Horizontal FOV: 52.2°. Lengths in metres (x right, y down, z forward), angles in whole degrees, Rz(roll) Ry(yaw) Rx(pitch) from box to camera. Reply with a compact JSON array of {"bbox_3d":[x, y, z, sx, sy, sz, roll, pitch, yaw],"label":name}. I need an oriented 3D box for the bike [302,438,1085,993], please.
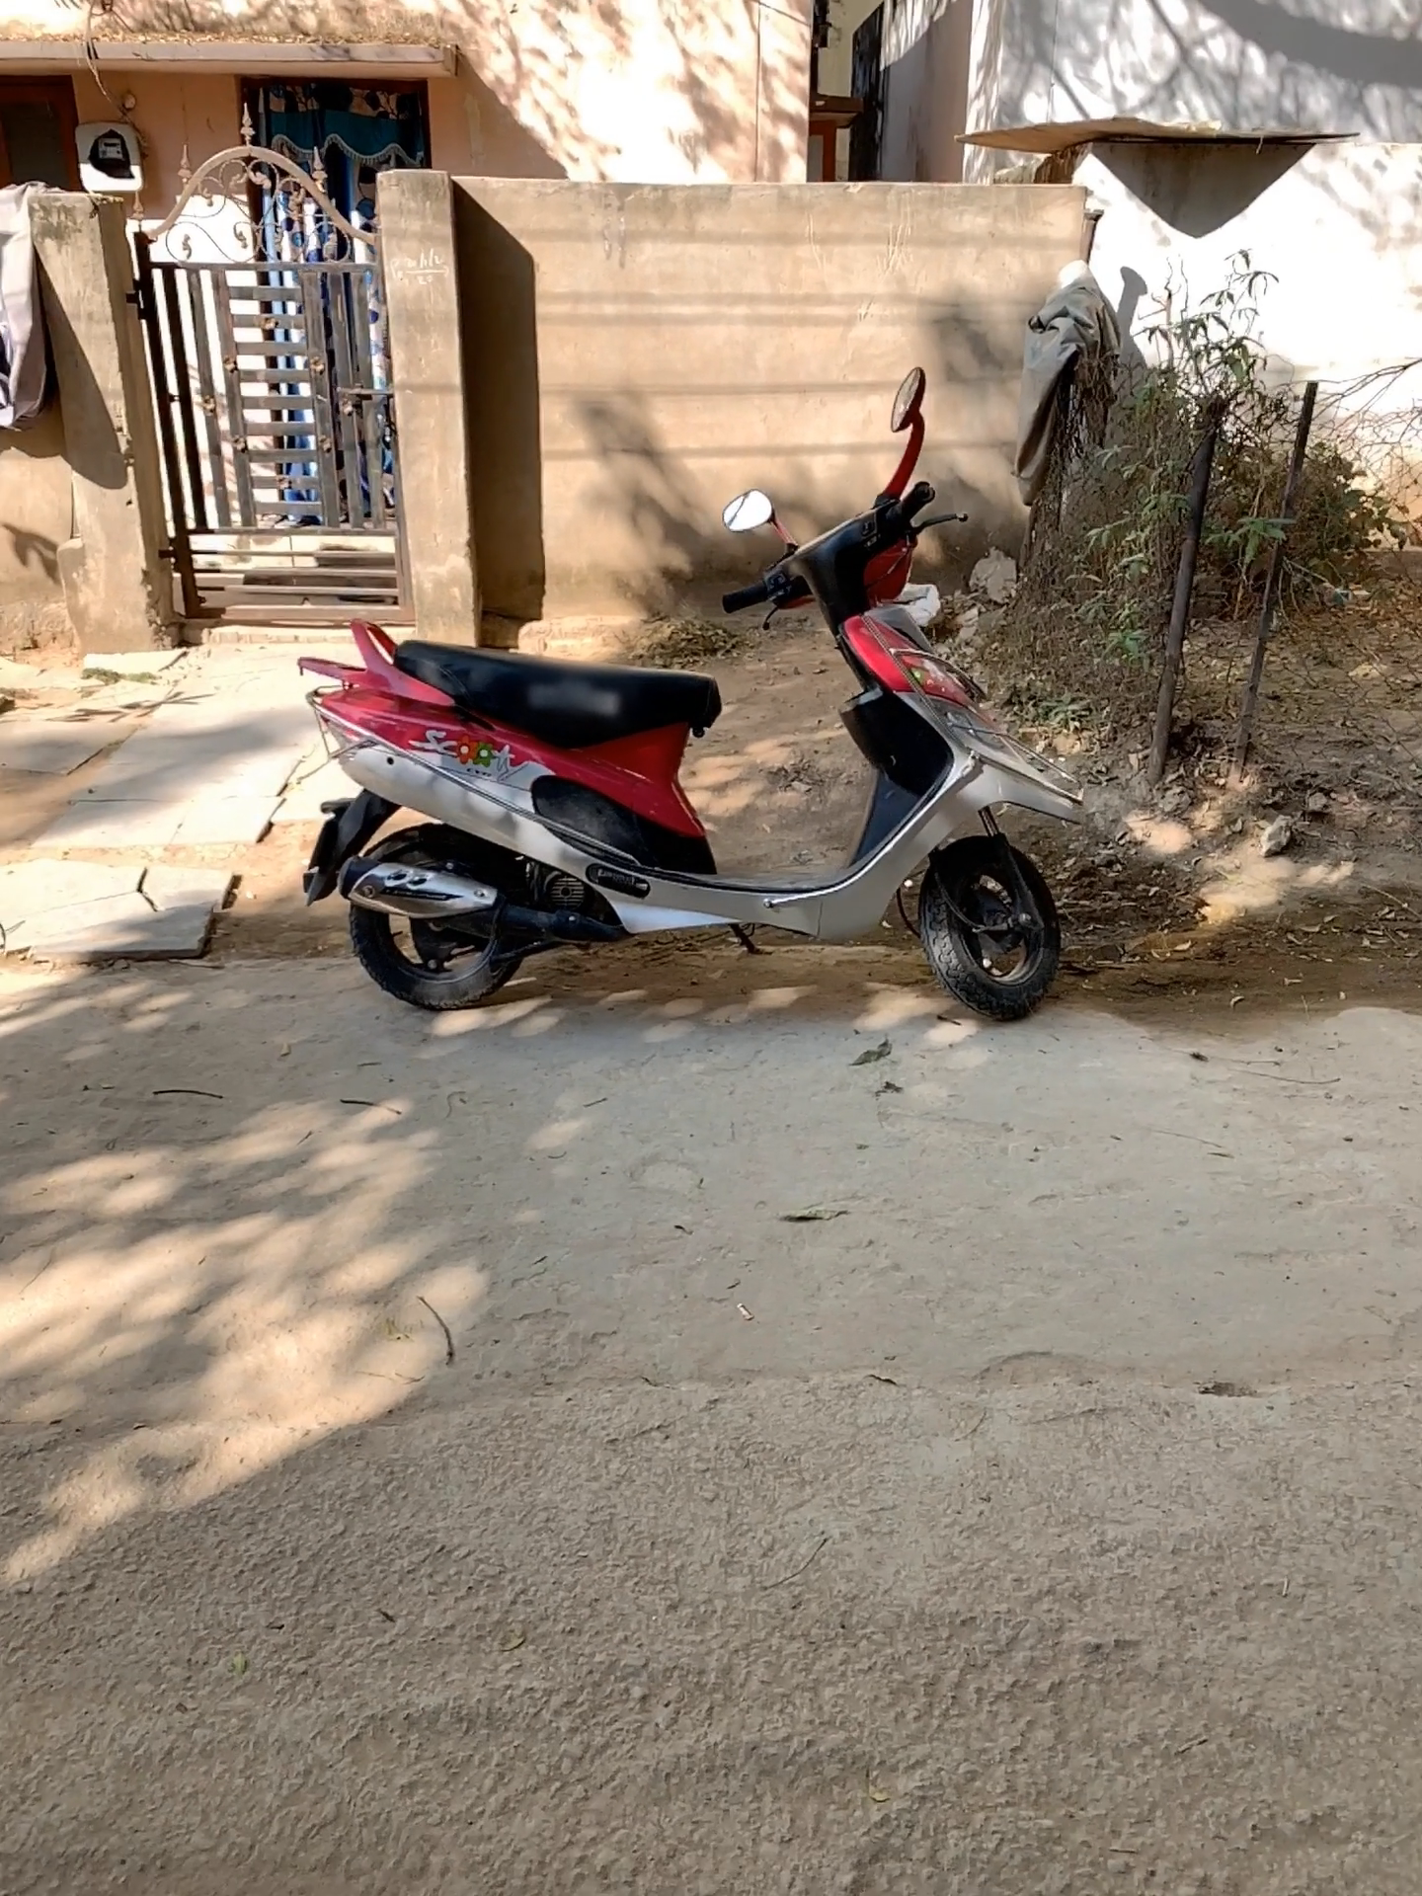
[{"bbox_3d":[-0.013,-0.522,3.195,1.494,1.037,0.486,-3,25,-3],"label":"bike"}]
